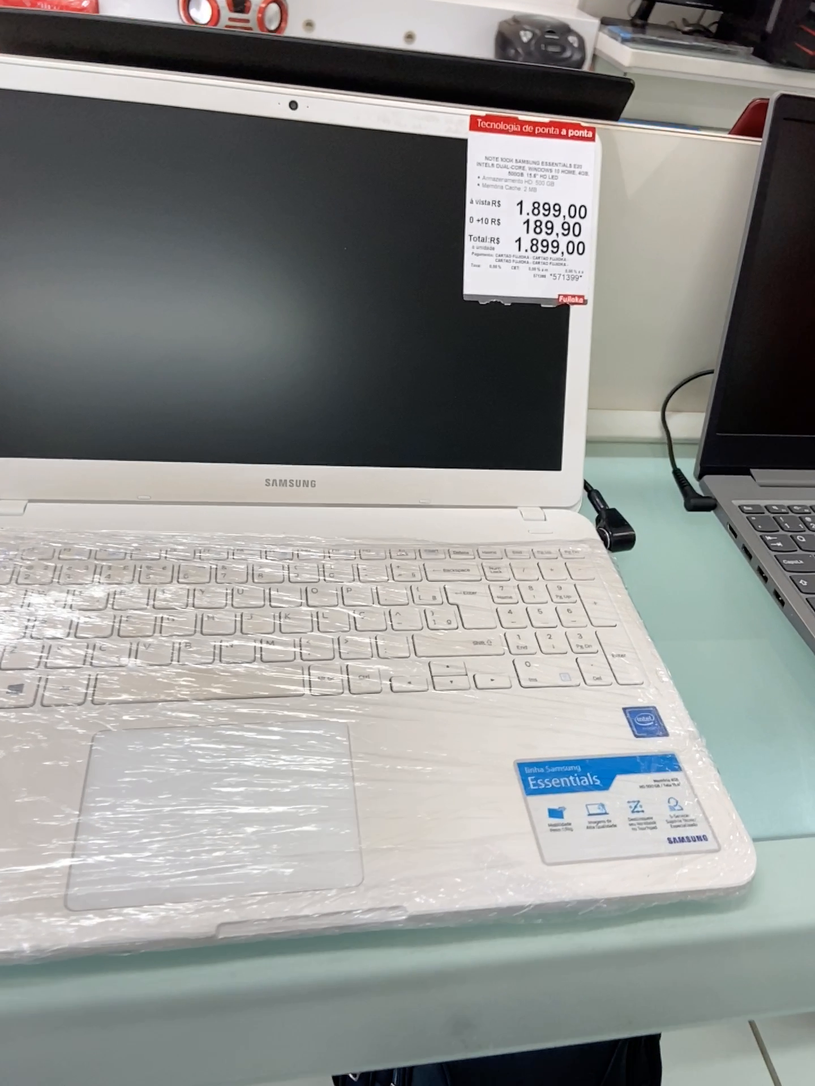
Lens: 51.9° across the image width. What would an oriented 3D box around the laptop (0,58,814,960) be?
[{"bbox_3d":[-0.050,-0.058,0.403,0.375,0.192,0.383,0,41,-12],"label":"laptop"}]
